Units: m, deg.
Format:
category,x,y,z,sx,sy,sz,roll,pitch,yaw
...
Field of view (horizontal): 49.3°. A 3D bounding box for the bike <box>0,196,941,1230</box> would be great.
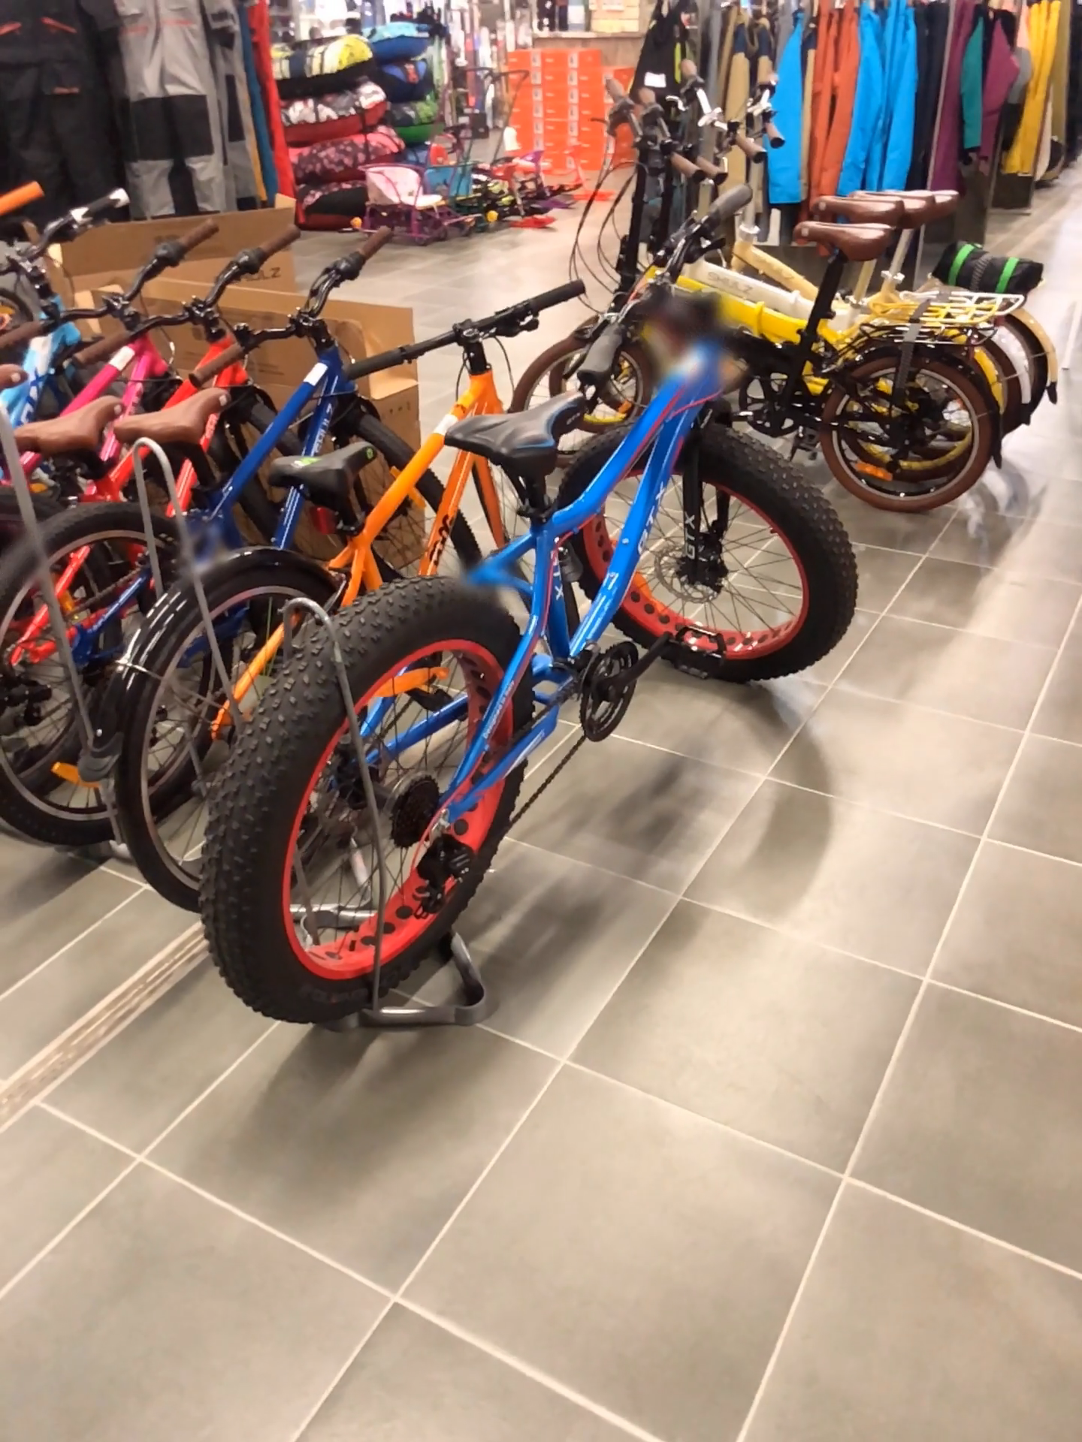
category,x,y,z,sx,sy,sz,roll,pitch,yaw
bike,0.075,-0.200,1.882,0.615,1.023,1.473,15,33,25
